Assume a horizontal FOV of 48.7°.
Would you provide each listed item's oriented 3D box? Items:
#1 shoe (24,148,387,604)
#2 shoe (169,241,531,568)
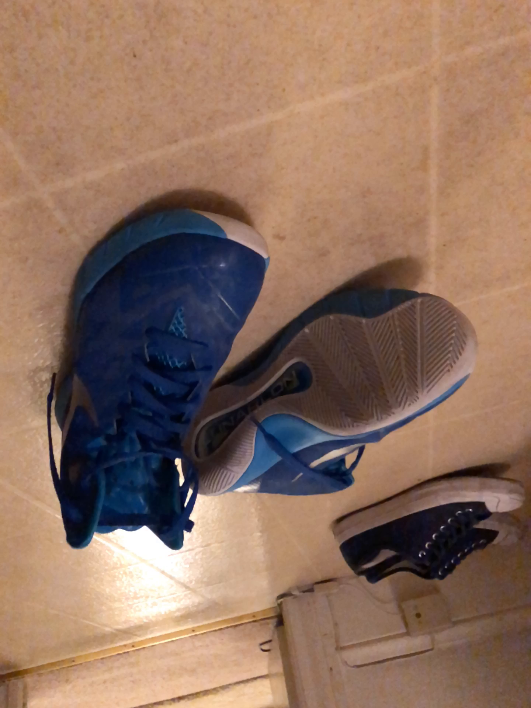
[{"bbox_3d":[-0.075,0.047,0.402,0.120,0.144,0.311,7,141,-27],"label":"shoe"},{"bbox_3d":[0.072,0.065,0.484,0.160,0.119,0.282,12,139,-40],"label":"shoe"}]
